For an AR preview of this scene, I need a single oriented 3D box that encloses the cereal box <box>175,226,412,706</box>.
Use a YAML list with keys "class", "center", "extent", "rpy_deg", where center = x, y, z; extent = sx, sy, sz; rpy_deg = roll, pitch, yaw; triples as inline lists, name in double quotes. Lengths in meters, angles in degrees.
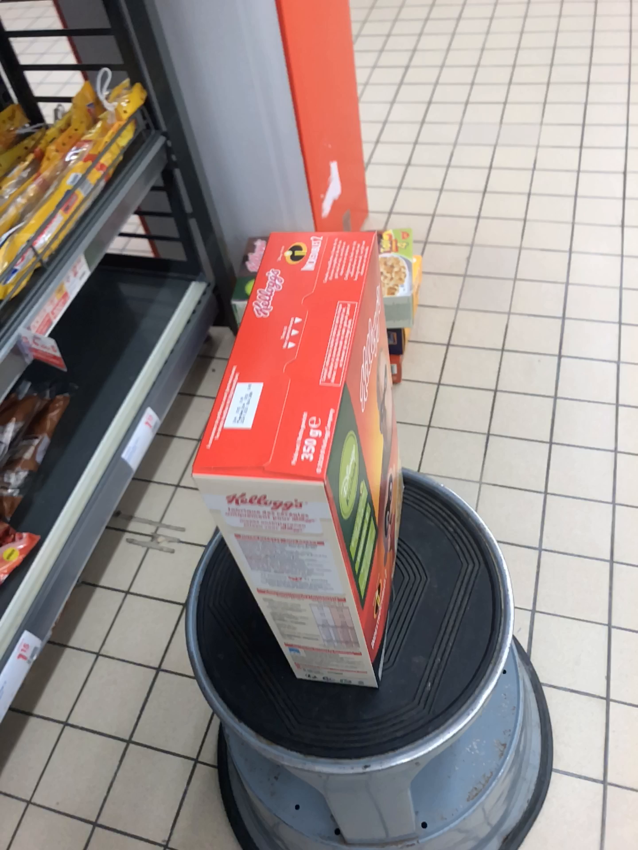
- class: "cereal box"
  center: [0.010, 0.047, 0.507]
  extent: [0.080, 0.308, 0.201]
  rpy_deg: [3, 52, 13]
